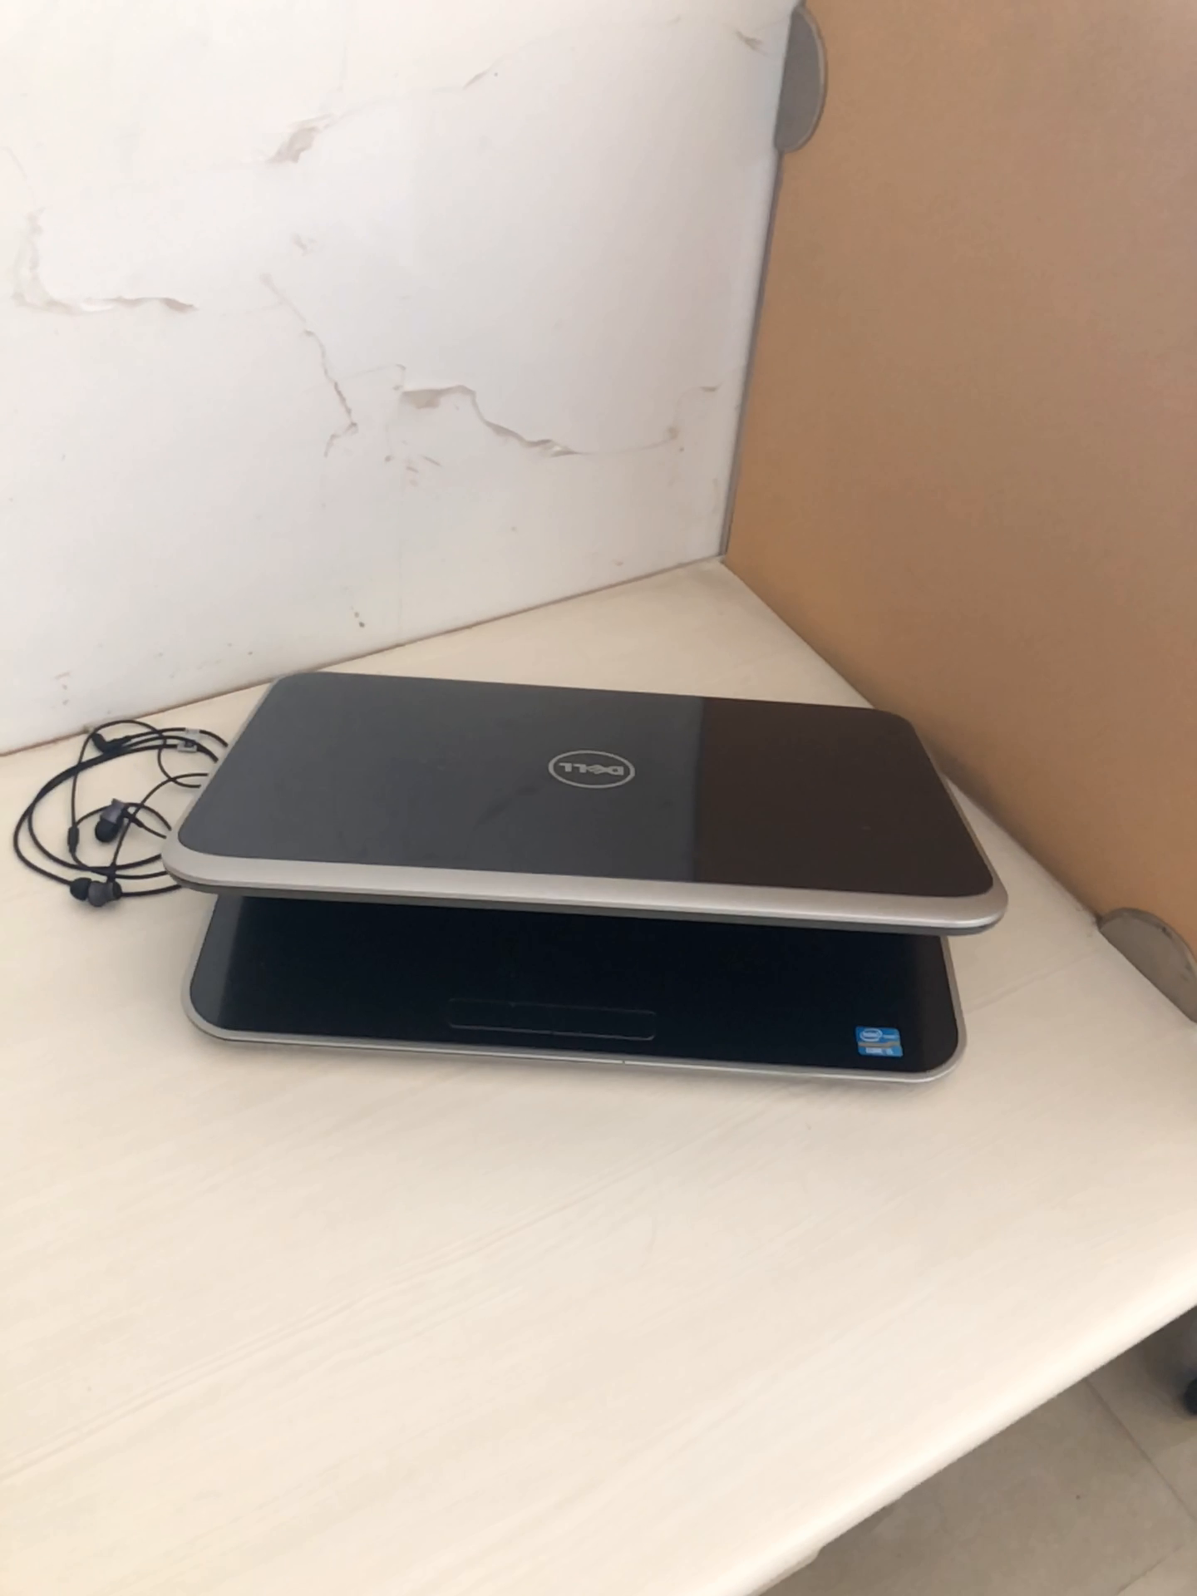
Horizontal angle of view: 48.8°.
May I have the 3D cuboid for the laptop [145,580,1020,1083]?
[{"bbox_3d":[-0.003,0.006,0.658,0.357,0.094,0.240,4,42,-1],"label":"laptop"}]
